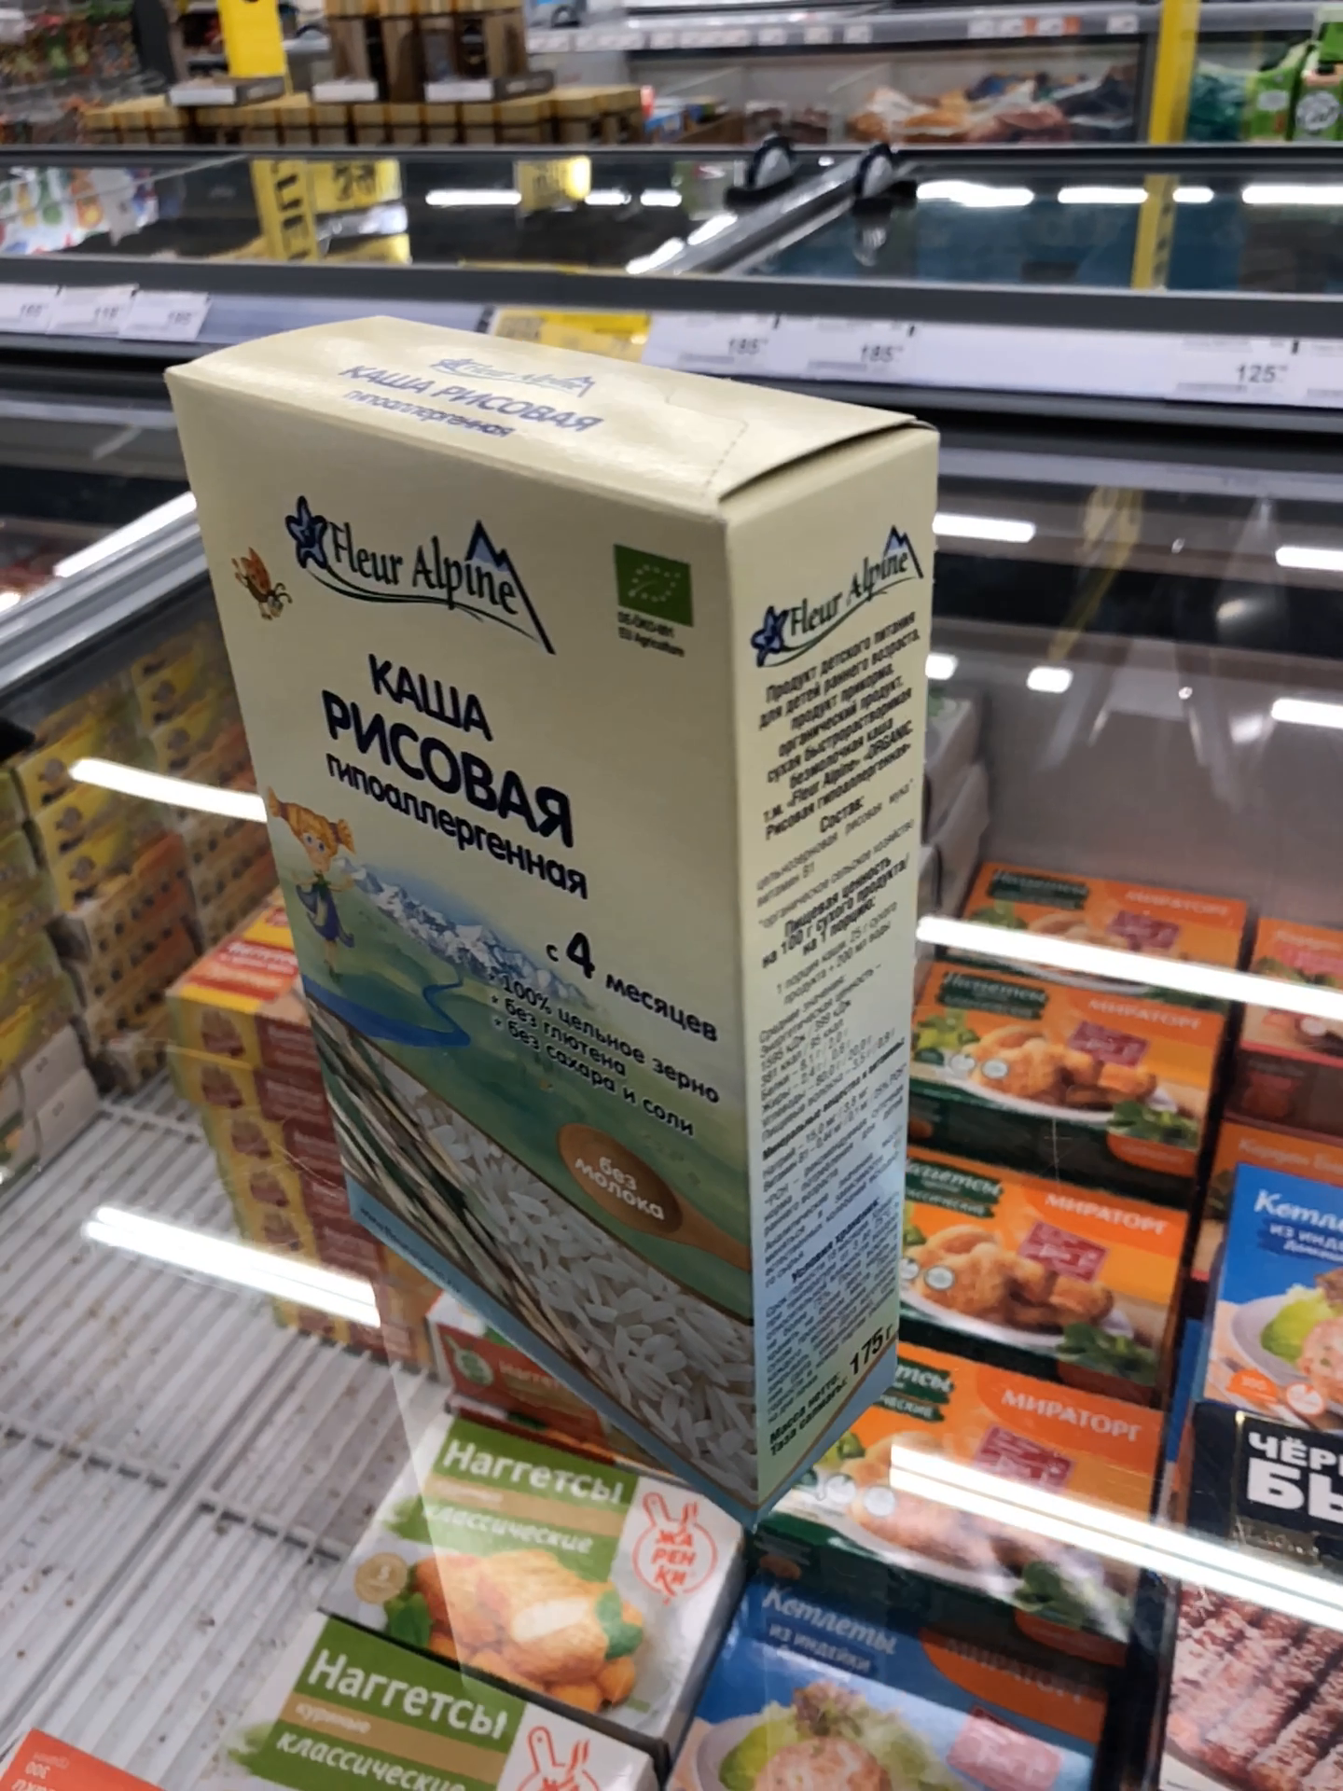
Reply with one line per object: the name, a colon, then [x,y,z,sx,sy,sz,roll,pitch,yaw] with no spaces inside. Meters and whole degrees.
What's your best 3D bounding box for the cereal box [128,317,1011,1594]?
cereal box: [-0.018,0.010,0.276,0.140,0.199,0.050,25,42,37]
